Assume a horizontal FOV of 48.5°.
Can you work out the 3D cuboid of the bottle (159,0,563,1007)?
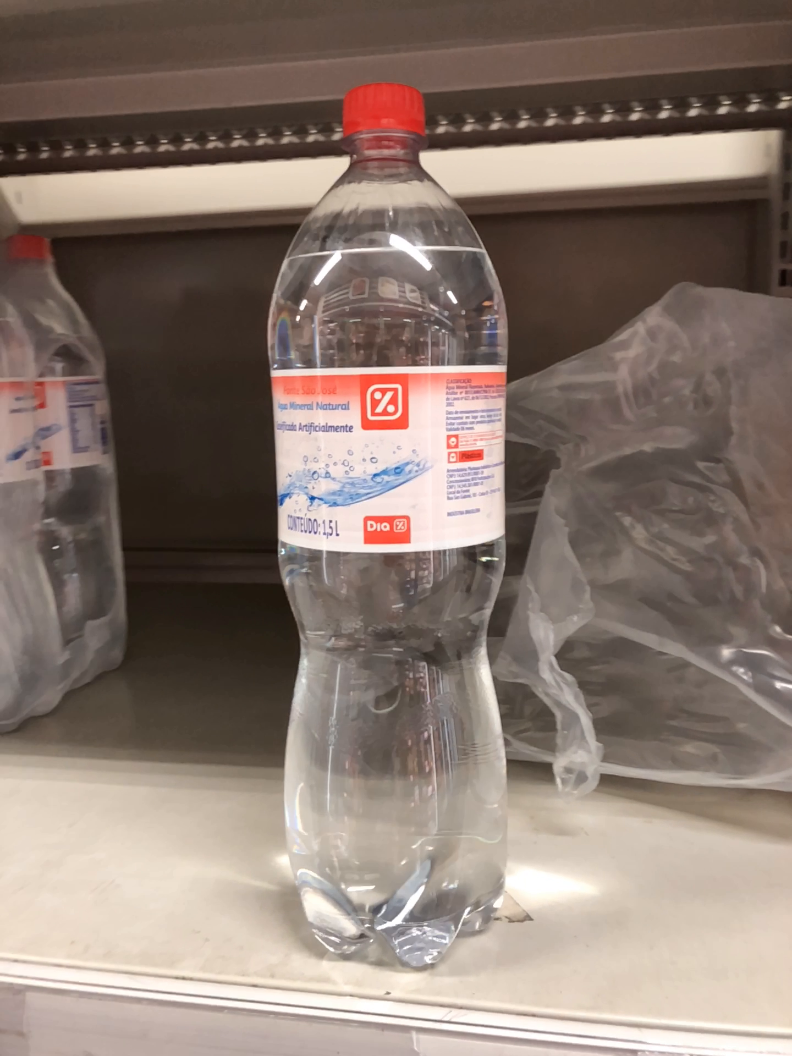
[{"bbox_3d":[-0.005,-0.007,0.339,0.100,0.319,0.100,-2,11,0],"label":"bottle"}]
